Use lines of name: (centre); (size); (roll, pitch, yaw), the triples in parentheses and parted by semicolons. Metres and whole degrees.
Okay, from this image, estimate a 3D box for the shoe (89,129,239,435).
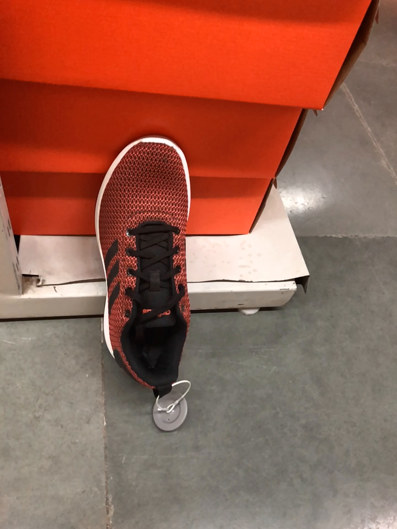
shoe: (-0.050, 0.012, 0.449); (0.110, 0.271, 0.133); (0, 20, -17)
